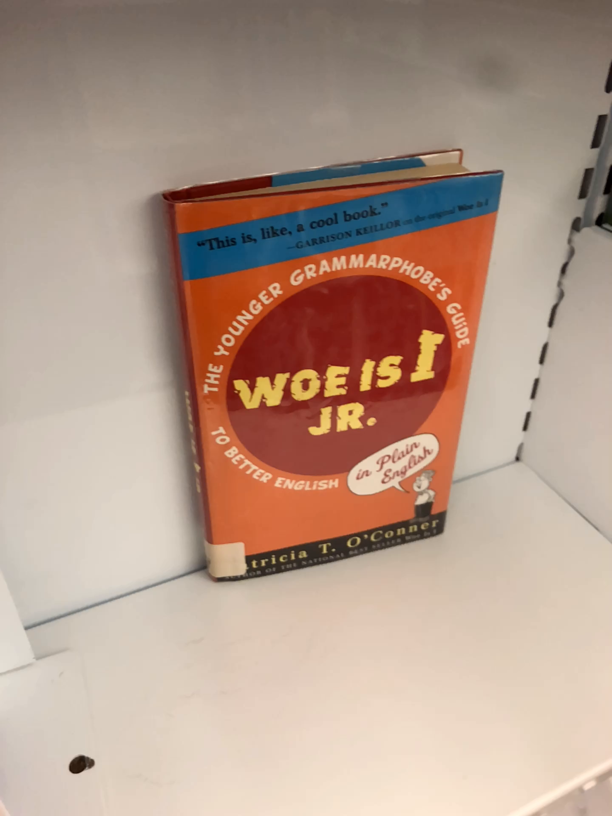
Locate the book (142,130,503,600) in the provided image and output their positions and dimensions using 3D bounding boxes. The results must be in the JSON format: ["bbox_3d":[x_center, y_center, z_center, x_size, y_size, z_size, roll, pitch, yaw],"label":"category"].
[{"bbox_3d":[0.010,-0.014,0.320,0.137,0.199,0.038,-15,36,-20],"label":"book"}]
